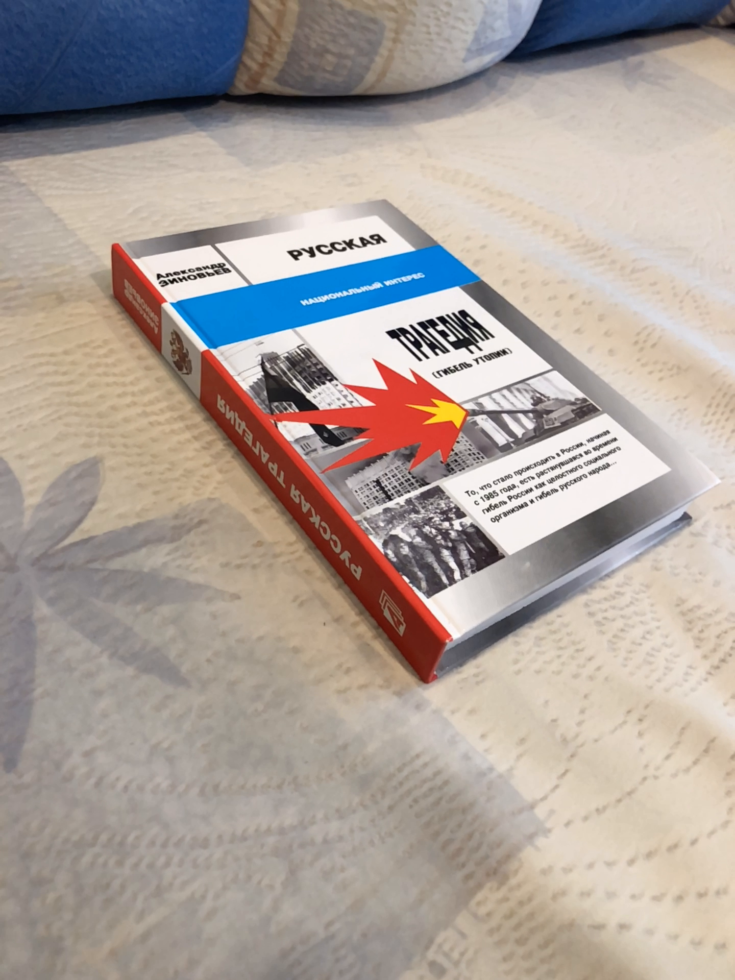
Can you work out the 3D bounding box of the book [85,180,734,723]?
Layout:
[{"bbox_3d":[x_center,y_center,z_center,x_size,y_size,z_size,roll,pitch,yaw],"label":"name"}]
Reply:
[{"bbox_3d":[0.013,-0.039,0.311,0.161,0.040,0.201,-23,57,-30],"label":"book"}]
